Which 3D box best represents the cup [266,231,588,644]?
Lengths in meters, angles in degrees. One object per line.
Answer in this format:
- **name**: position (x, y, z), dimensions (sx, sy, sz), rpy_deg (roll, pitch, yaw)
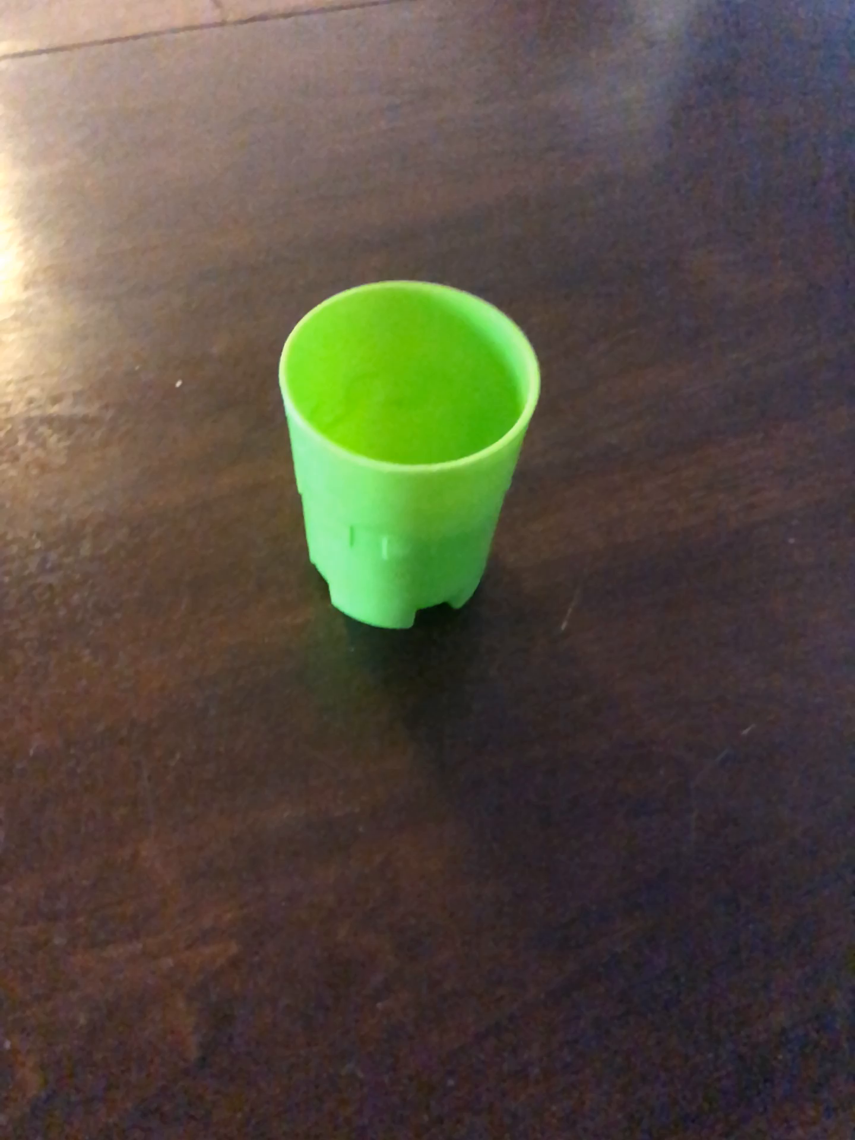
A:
- **cup**: position (-0.005, -0.034, 0.268), dimensions (0.070, 0.090, 0.070), rpy_deg (2, 56, -3)
